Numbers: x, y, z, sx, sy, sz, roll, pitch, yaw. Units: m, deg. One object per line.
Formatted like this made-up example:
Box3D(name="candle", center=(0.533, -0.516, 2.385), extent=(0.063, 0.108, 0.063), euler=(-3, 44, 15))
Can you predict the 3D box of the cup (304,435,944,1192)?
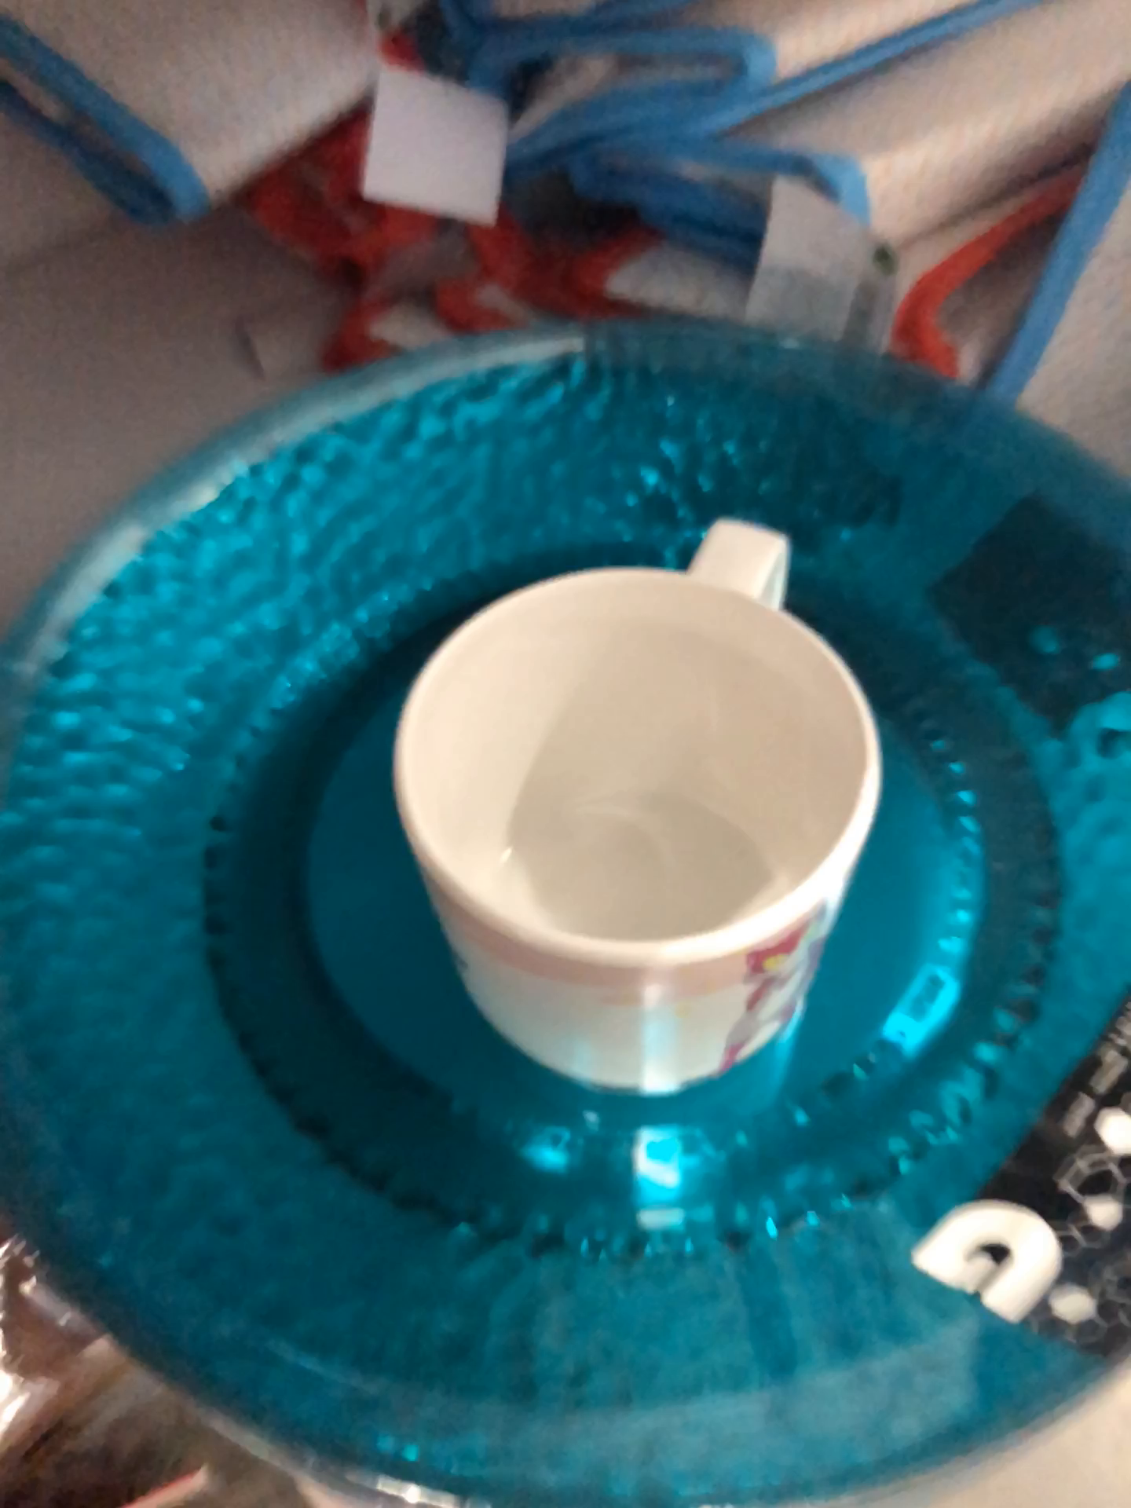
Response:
Box3D(name="cup", center=(0.016, 0.007, 0.226), extent=(0.075, 0.064, 0.103), euler=(14, 55, 12))
